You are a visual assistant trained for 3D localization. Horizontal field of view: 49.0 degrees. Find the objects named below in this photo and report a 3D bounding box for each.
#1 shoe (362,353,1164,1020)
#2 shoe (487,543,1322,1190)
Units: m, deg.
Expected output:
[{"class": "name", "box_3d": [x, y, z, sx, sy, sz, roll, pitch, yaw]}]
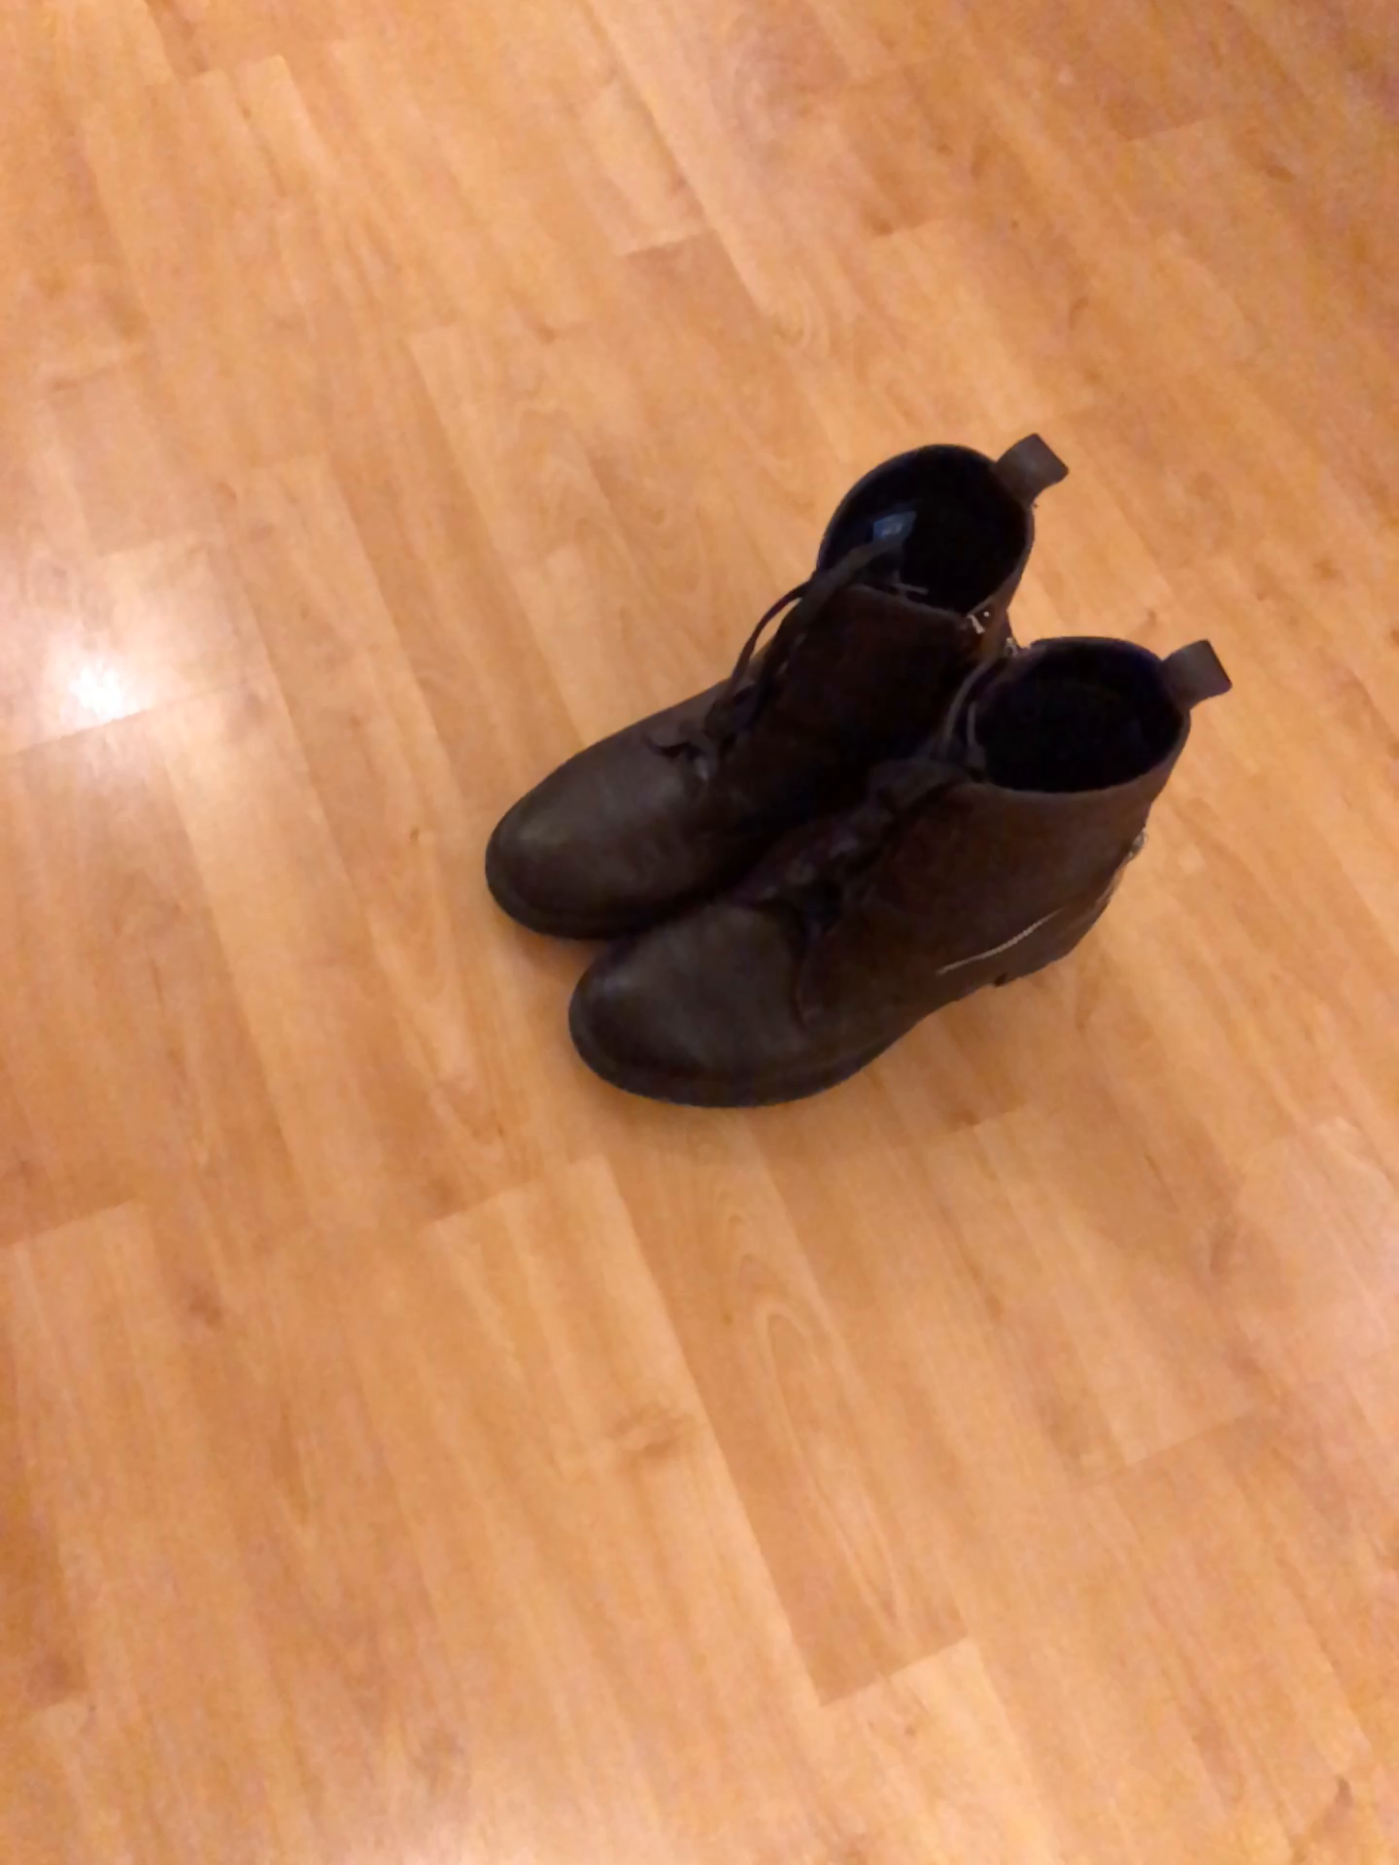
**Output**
[{"class": "shoe", "box_3d": [0.022, -0.094, 0.638, 0.270, 0.180, 0.110, -23, 70, -12]}, {"class": "shoe", "box_3d": [0.069, -0.018, 0.616, 0.270, 0.180, 0.110, -20, 69, -11]}]
